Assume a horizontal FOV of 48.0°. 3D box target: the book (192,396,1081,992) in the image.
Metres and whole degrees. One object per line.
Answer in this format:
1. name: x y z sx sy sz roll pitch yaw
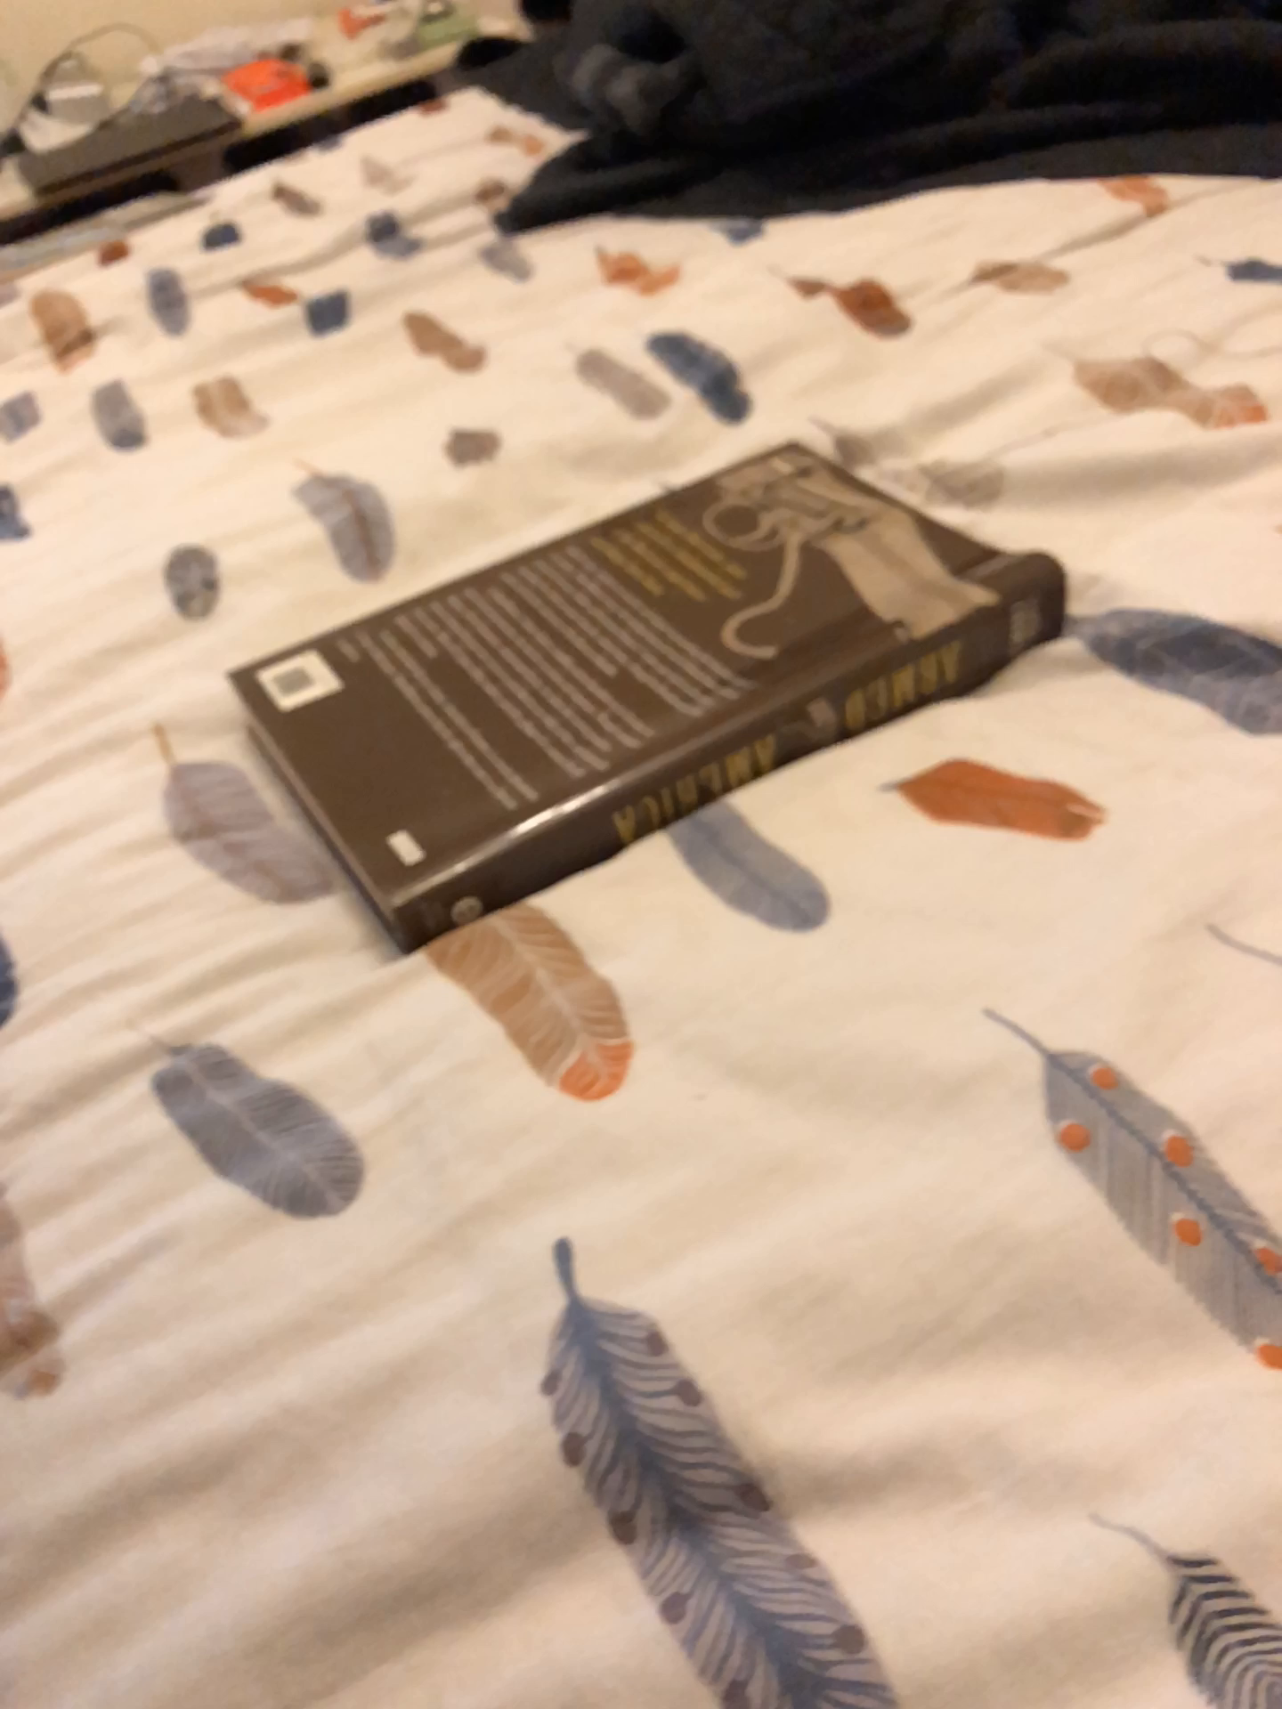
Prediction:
1. book: -0.009 -0.072 0.480 0.240 0.030 0.181 -28 41 -15
